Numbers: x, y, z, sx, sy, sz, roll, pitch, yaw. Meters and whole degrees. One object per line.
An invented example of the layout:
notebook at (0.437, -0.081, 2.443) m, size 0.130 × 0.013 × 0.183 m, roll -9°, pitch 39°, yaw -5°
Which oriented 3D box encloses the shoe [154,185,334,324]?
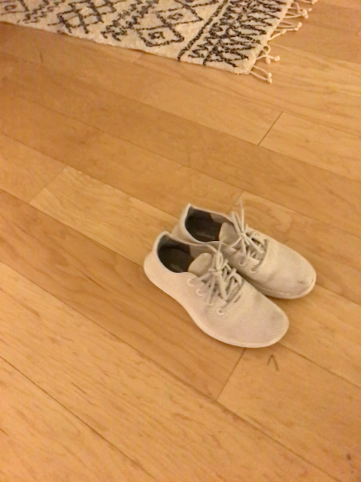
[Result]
shoe at (0.102, 0.015, 0.676) m, size 0.270 × 0.070 × 0.120 m, roll 26°, pitch 62°, yaw 22°

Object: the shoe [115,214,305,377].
shoe at (0.041, 0.078, 0.642) m, size 0.280 × 0.070 × 0.120 m, roll 31°, pitch 64°, yaw 24°
